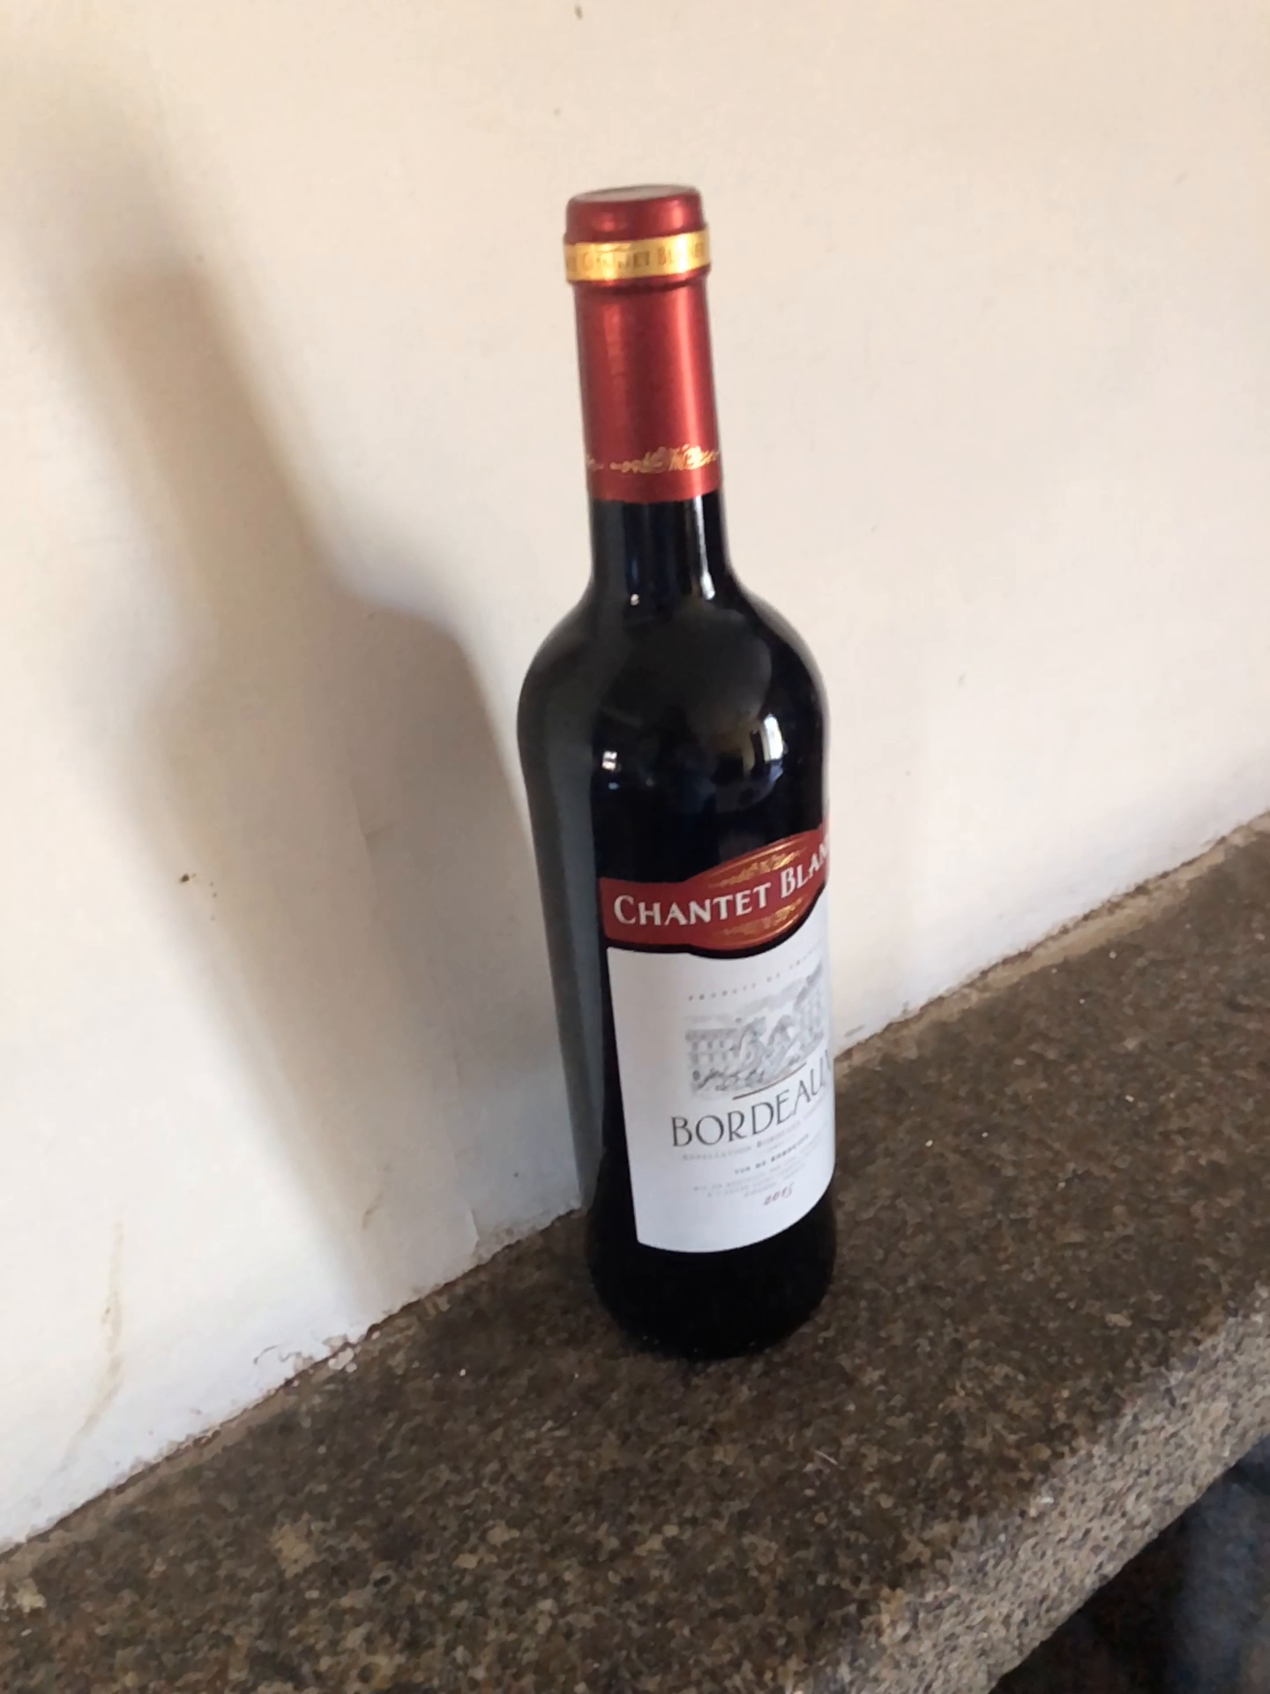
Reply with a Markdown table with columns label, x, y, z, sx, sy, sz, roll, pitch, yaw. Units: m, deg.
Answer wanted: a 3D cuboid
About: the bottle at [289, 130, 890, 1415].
| label | x | y | z | sx | sy | sz | roll | pitch | yaw |
| --- | --- | --- | --- | --- | --- | --- | --- | --- | --- |
| bottle | 0.003 | -0.006 | 0.338 | 0.080 | 0.288 | 0.080 | -5 | 30 | 3 |
